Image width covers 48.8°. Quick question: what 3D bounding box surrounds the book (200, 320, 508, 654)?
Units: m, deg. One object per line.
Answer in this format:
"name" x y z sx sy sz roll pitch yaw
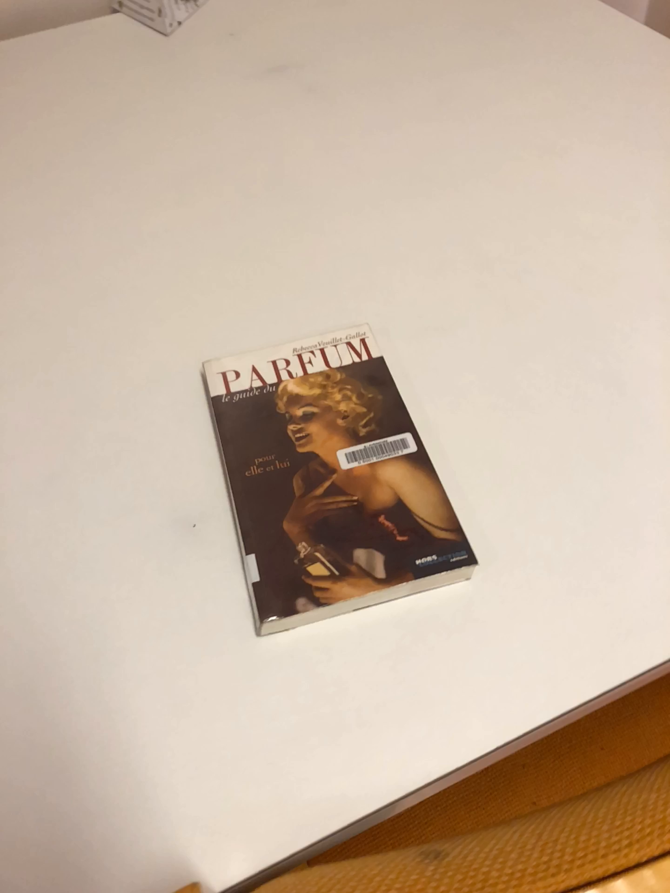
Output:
"book" 0.000 0.010 0.460 0.133 0.020 0.211 -15 51 -7
